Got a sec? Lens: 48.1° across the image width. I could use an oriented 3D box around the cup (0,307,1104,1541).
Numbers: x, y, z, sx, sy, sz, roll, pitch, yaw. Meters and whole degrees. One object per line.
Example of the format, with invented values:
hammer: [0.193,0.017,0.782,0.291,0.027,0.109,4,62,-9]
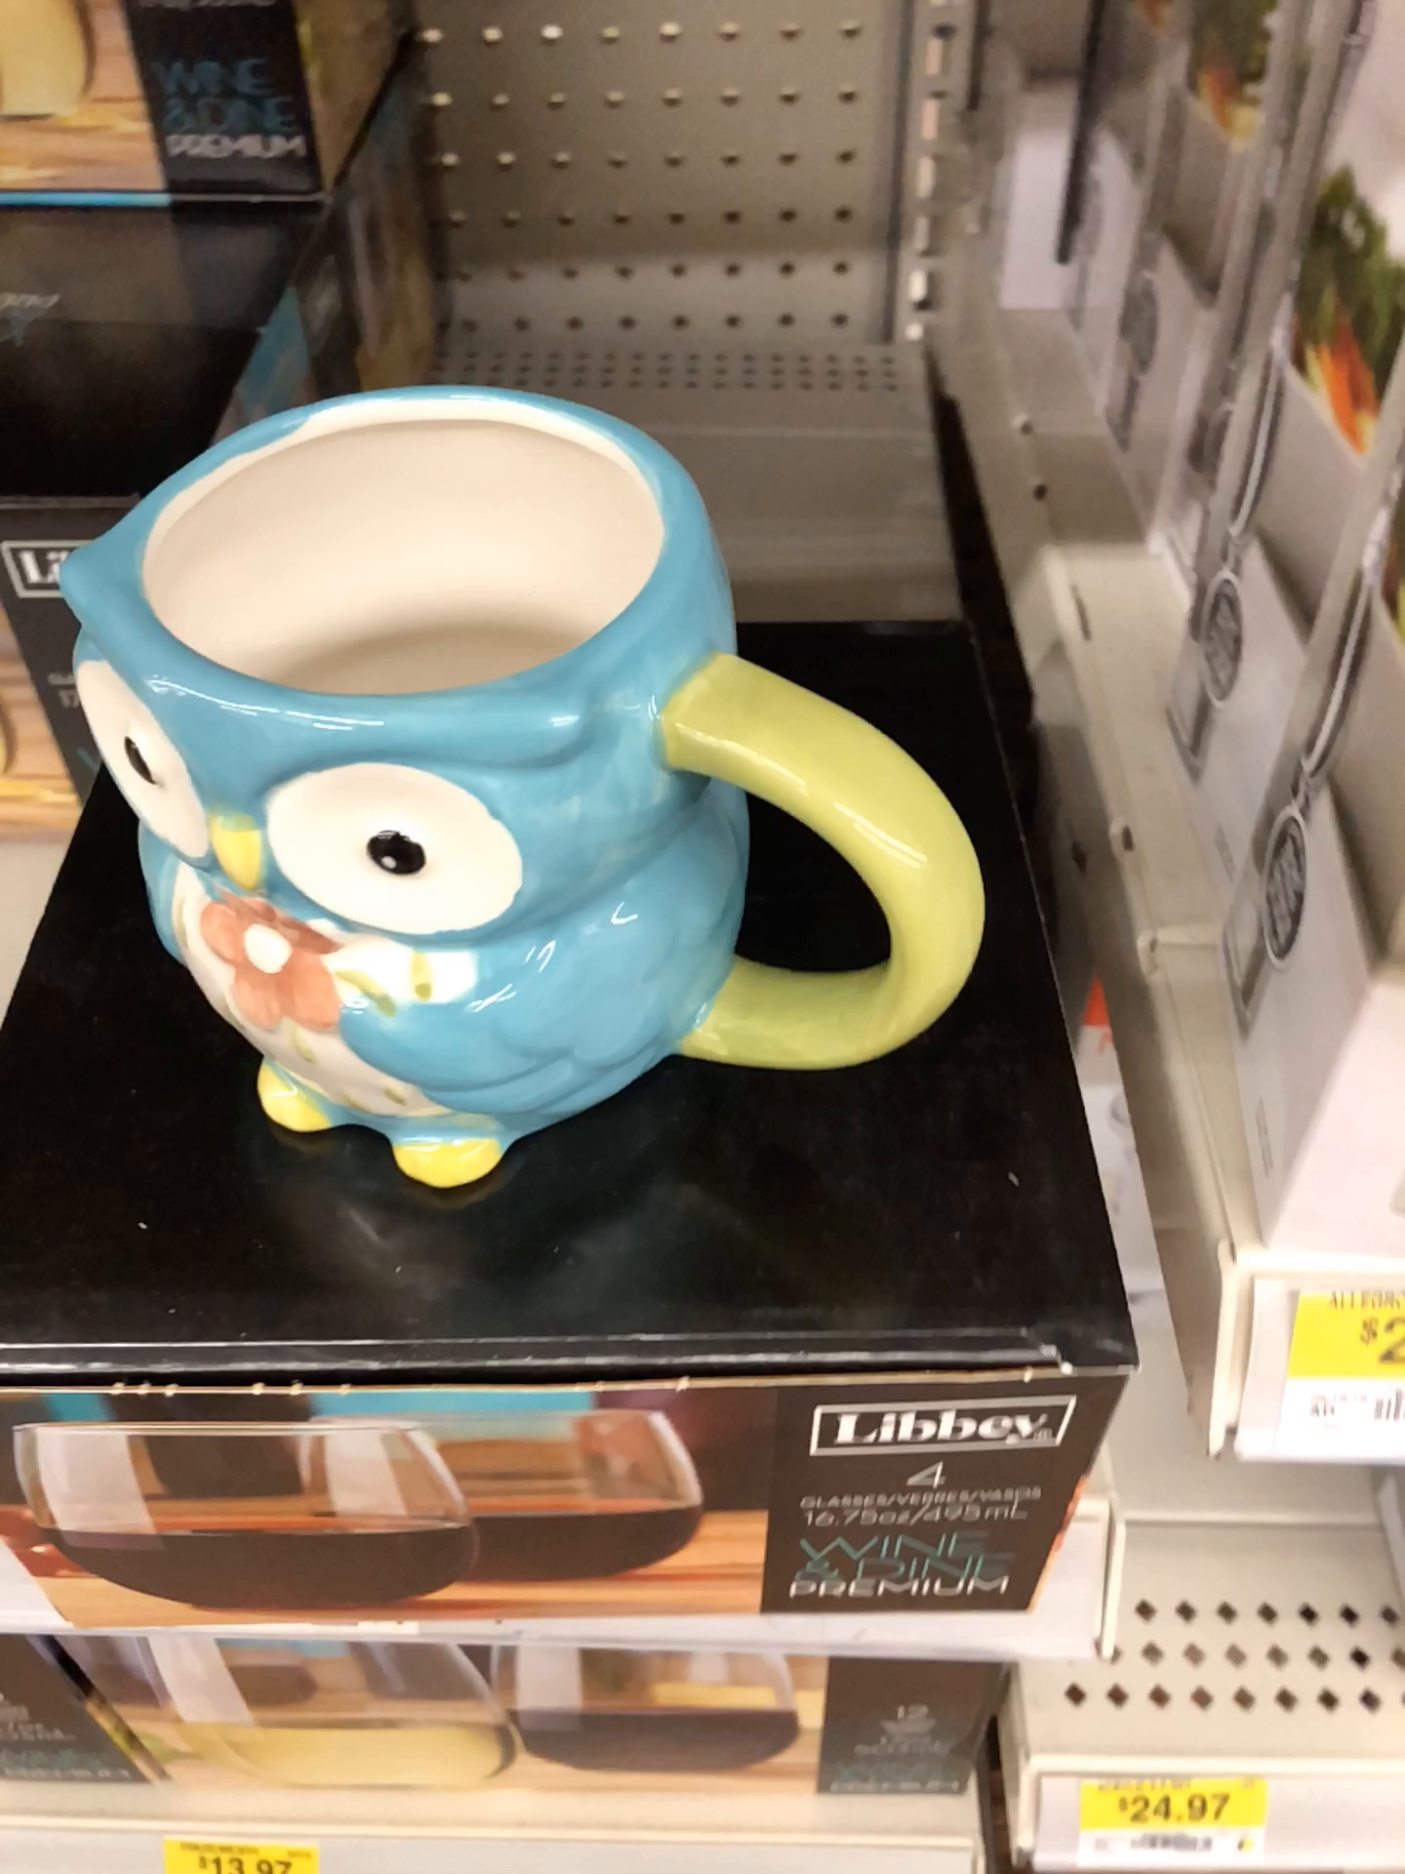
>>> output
cup: [-0.032,-0.008,0.236,0.140,0.110,0.090,25,52,24]
